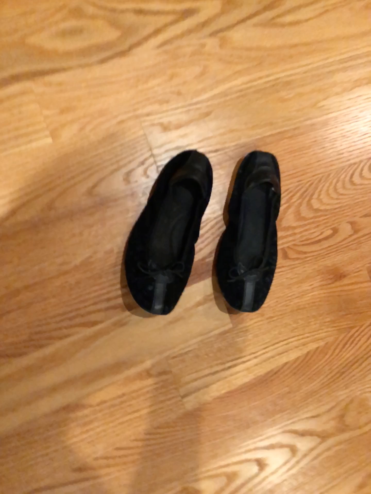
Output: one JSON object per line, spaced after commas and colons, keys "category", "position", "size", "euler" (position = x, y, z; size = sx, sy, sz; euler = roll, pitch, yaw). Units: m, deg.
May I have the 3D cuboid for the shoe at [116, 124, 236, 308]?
{"category": "shoe", "position": [-0.013, -0.039, 0.558], "size": [0.100, 0.050, 0.220], "euler": [17, 85, -15]}

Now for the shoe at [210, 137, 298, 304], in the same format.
{"category": "shoe", "position": [0.098, -0.035, 0.588], "size": [0.093, 0.046, 0.220], "euler": [7, 87, -16]}
